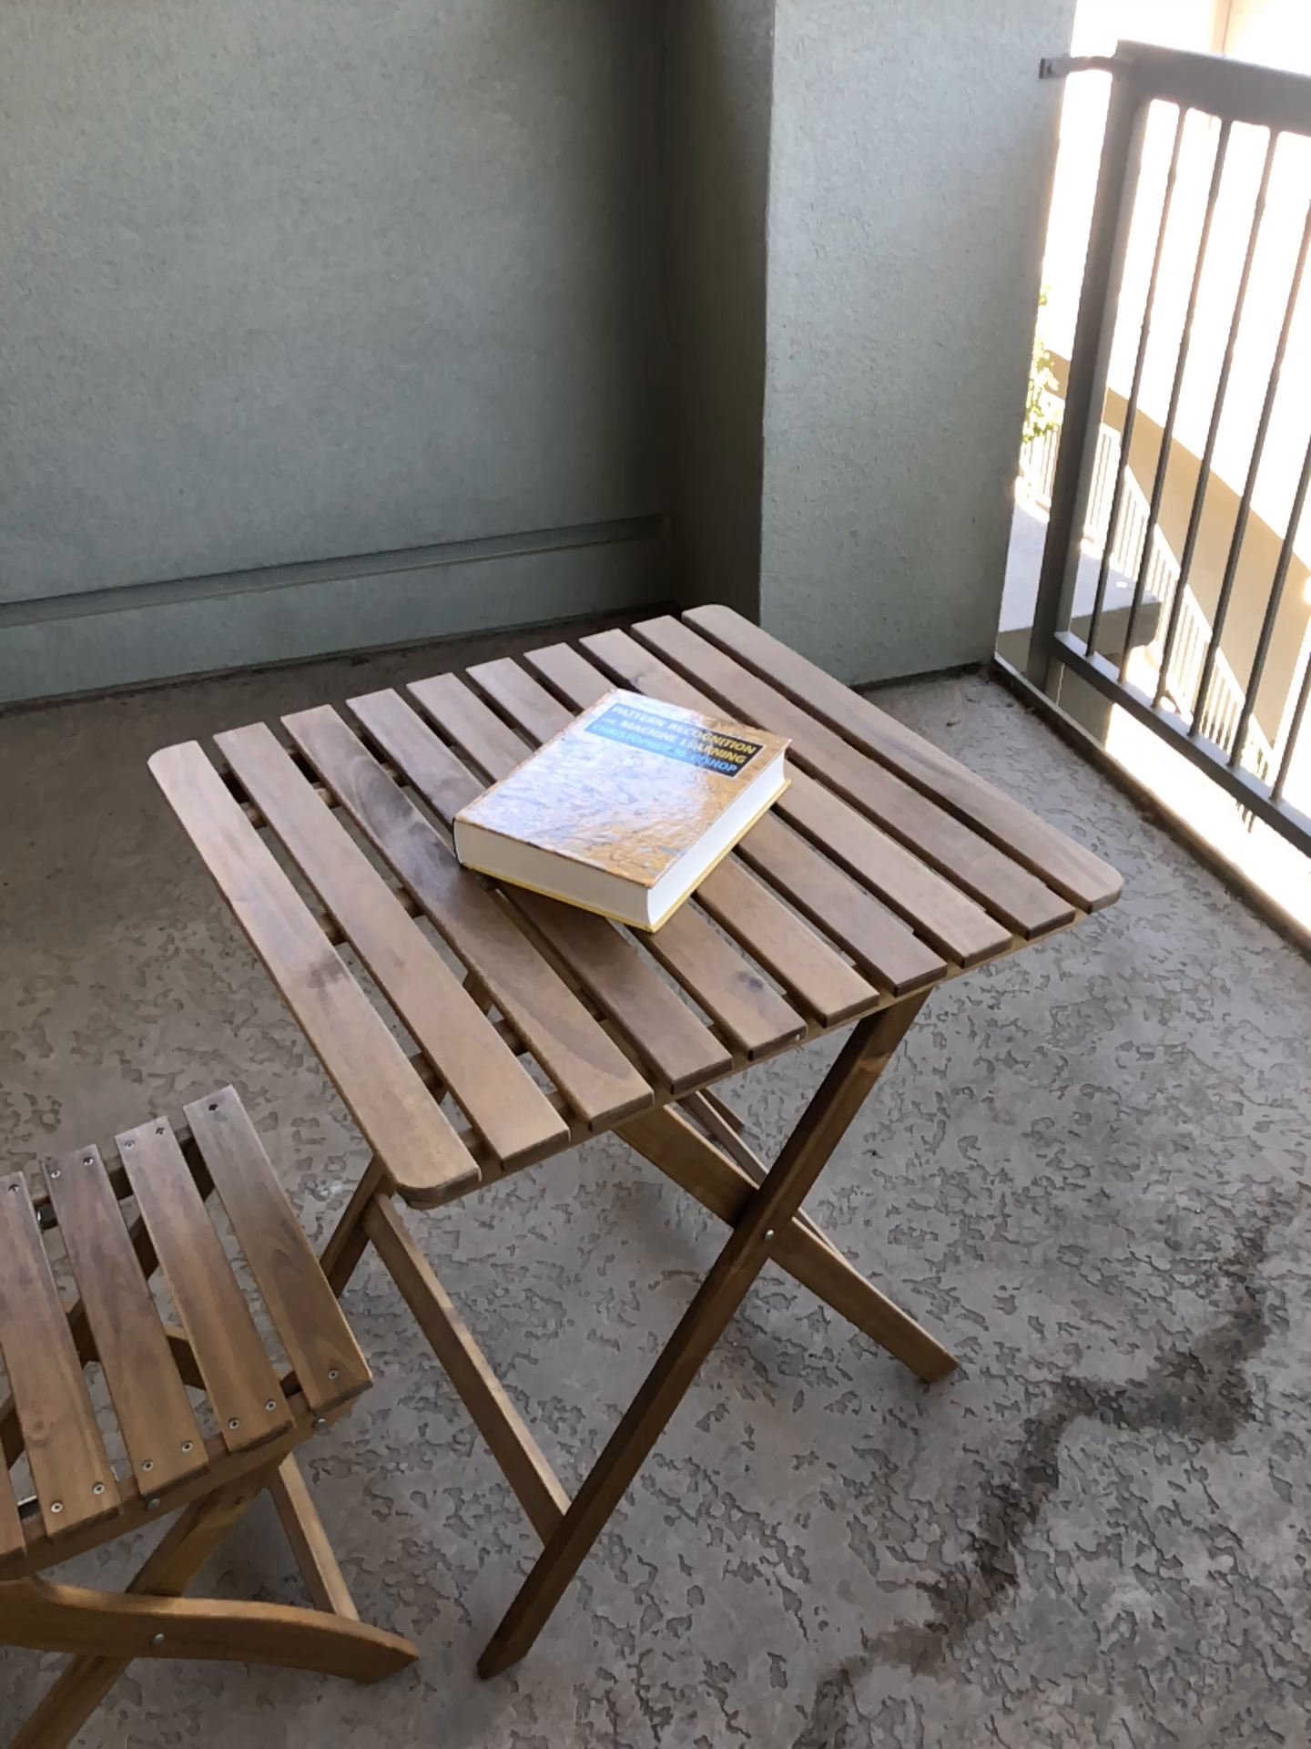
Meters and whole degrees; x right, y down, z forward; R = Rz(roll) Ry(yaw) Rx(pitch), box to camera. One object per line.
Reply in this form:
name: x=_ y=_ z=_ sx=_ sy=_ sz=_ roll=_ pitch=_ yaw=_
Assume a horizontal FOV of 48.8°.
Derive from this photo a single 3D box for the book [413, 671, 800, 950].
book: x=-0.030 y=-0.060 z=1.111 sx=0.190 sy=0.050 sz=0.251 roll=18 pitch=41 yaw=25
